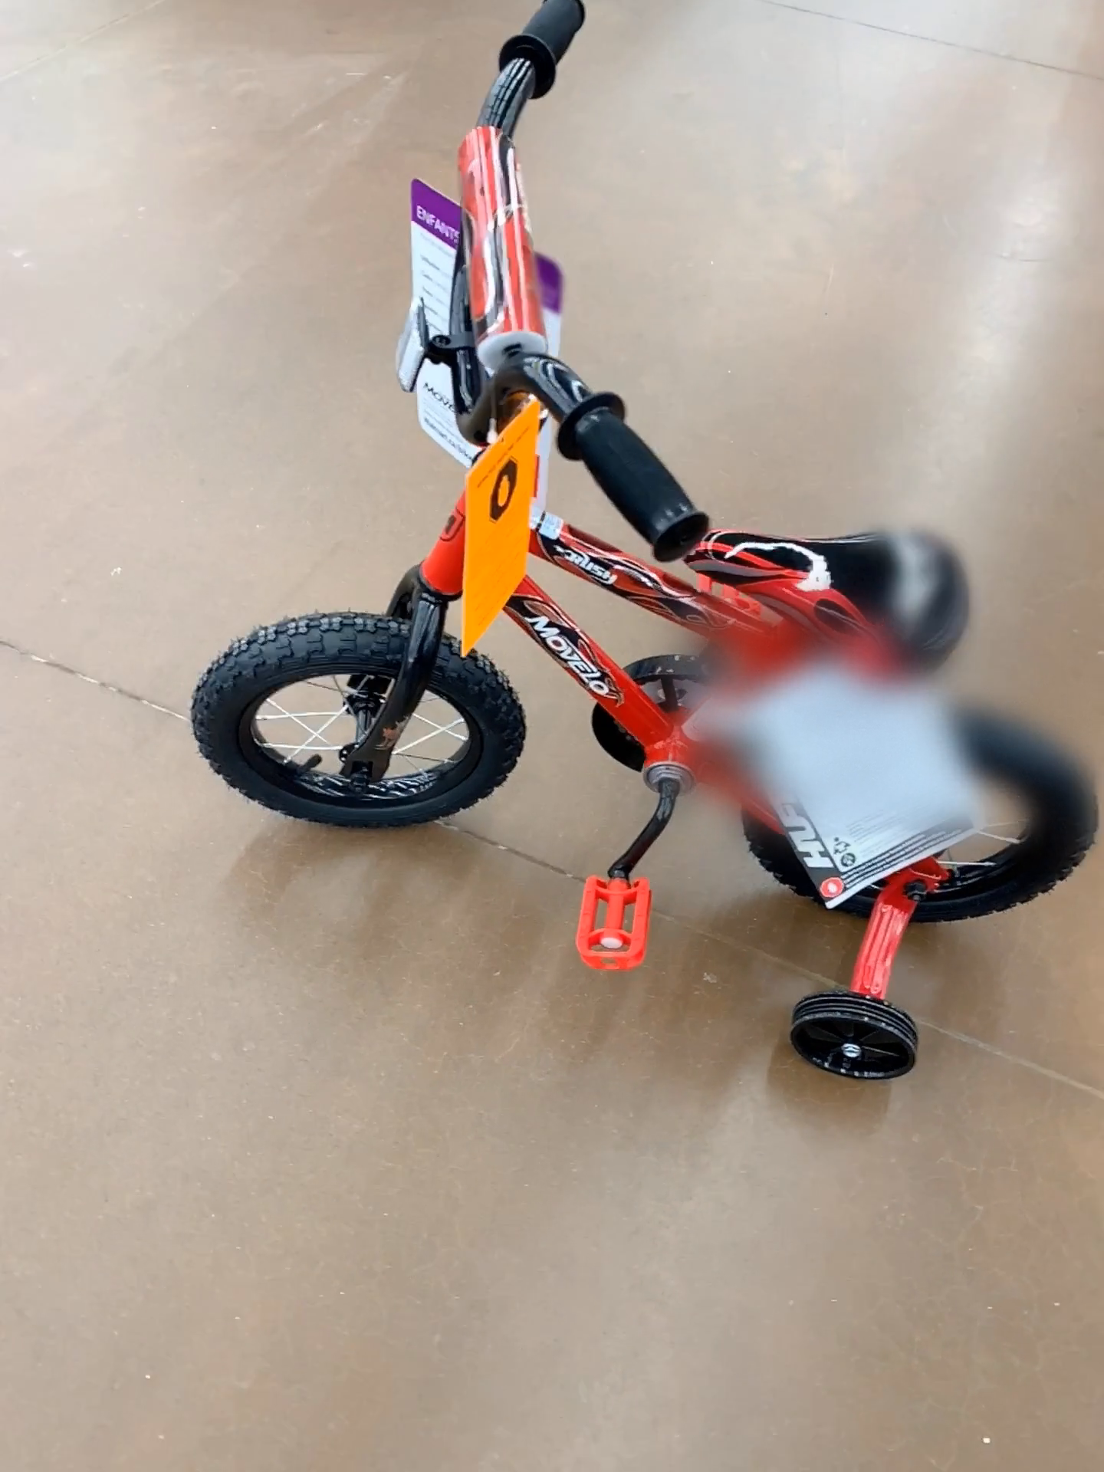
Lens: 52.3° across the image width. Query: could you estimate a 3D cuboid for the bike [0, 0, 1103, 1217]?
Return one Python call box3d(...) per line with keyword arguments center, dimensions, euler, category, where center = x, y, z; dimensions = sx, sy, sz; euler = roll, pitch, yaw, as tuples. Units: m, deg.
box3d(center=(0.089, -0.070, 0.722), dimensions=(0.703, 0.626, 0.459), euler=(9, 50, -3), category="bike")
